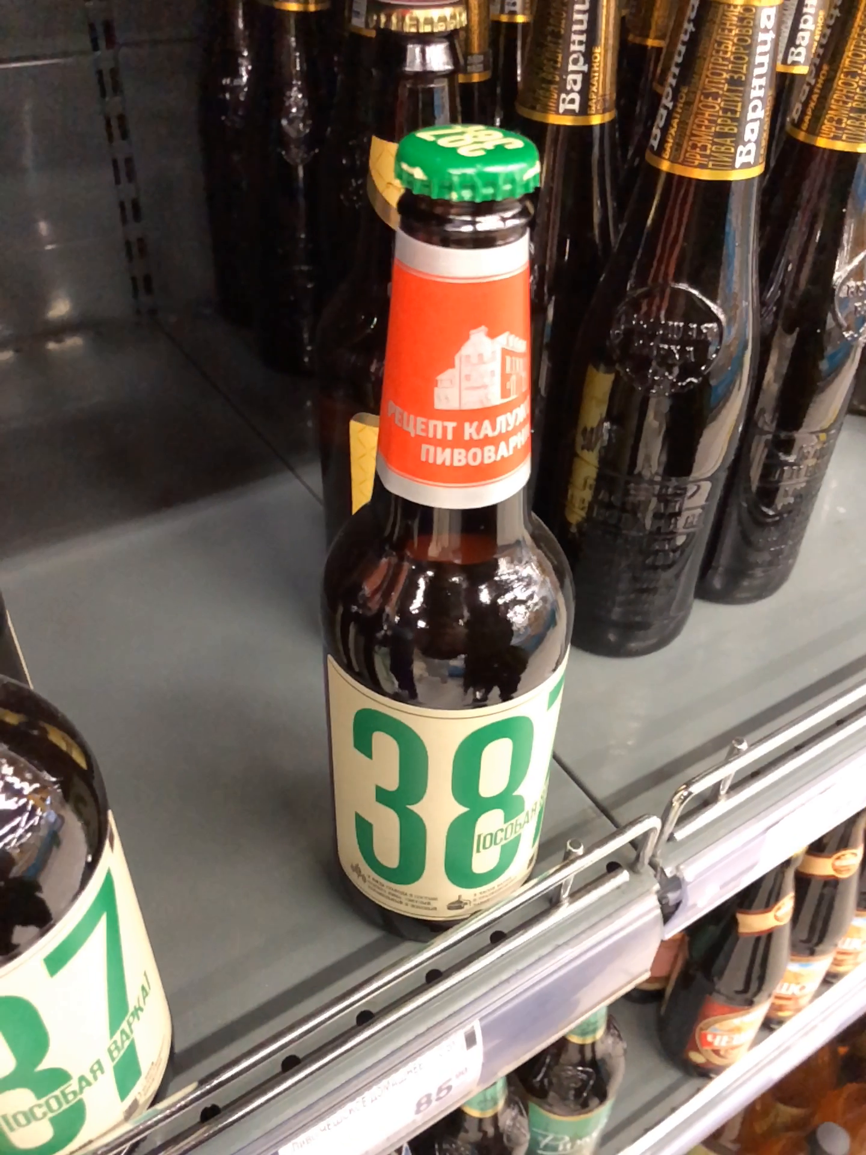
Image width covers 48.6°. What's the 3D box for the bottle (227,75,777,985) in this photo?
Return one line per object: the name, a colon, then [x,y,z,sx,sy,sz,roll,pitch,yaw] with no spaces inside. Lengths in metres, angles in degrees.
bottle: [0.006,0.004,0.253,0.080,0.229,0.070,-14,43,-19]
